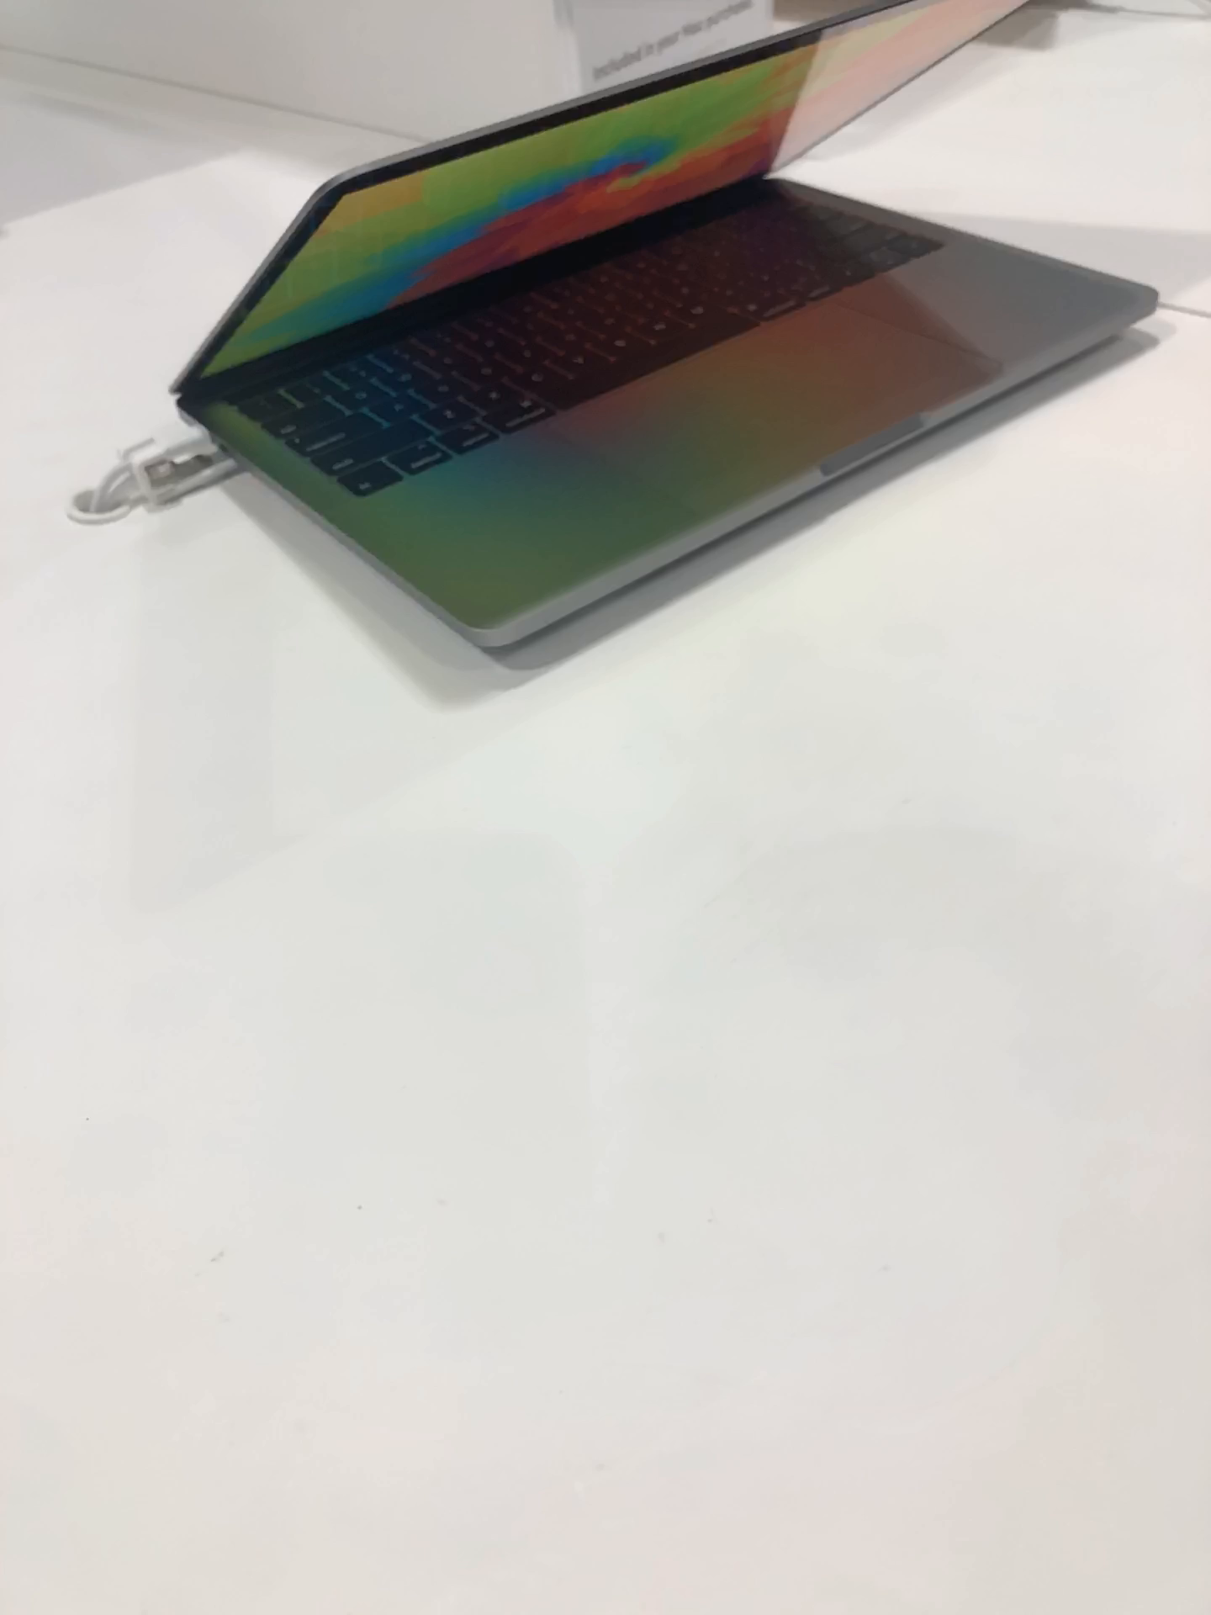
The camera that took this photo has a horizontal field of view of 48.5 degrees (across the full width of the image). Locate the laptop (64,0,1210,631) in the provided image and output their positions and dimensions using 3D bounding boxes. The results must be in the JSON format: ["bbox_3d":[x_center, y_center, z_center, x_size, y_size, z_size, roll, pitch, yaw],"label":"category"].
[{"bbox_3d":[0.016,-0.208,0.453,0.297,0.109,0.211,-31,47,-24],"label":"laptop"}]
